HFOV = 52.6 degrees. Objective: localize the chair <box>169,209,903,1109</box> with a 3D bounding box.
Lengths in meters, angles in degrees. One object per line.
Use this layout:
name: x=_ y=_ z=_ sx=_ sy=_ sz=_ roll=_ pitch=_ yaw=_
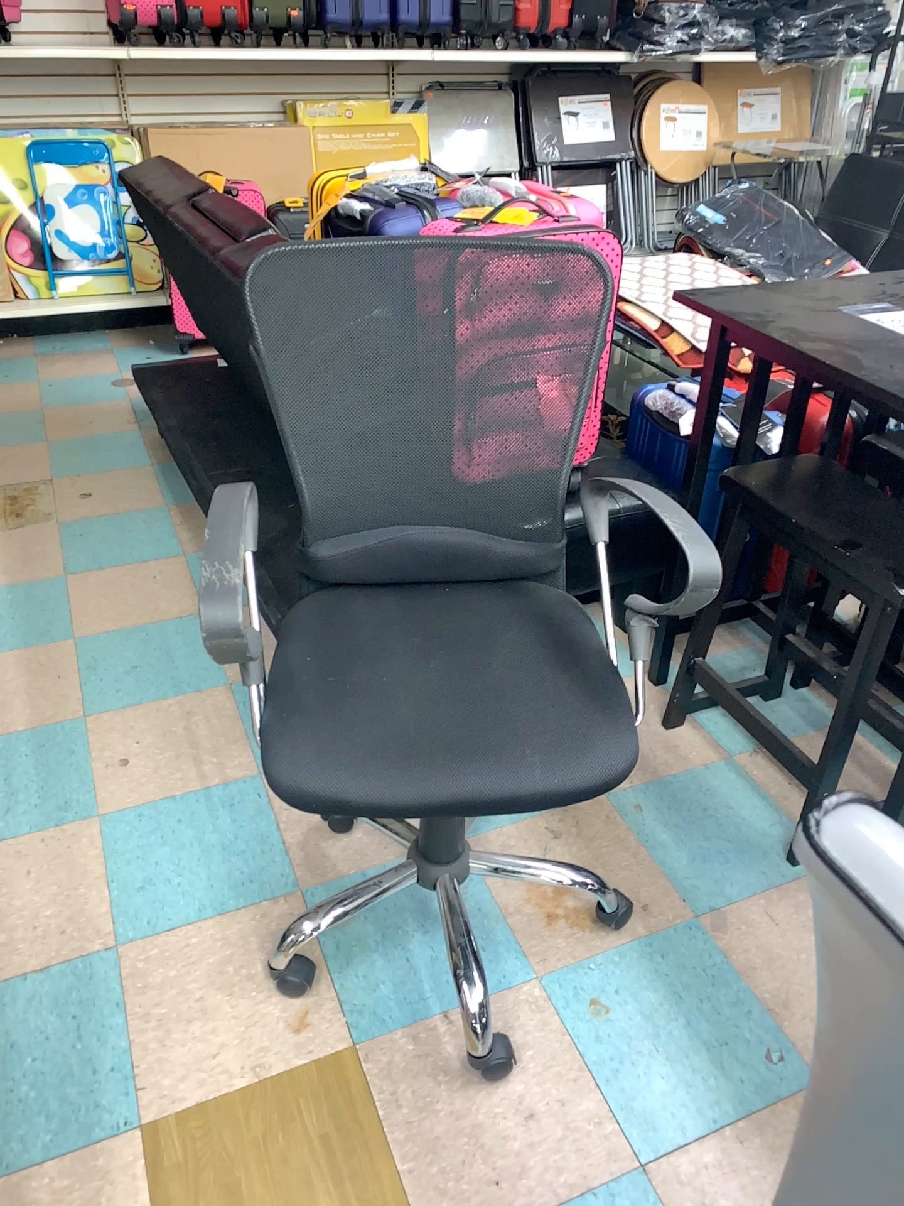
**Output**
chair: x=0.061 y=0.083 z=1.227 sx=0.620 sy=1.019 sz=0.603 roll=-2 pitch=34 yaw=-5
